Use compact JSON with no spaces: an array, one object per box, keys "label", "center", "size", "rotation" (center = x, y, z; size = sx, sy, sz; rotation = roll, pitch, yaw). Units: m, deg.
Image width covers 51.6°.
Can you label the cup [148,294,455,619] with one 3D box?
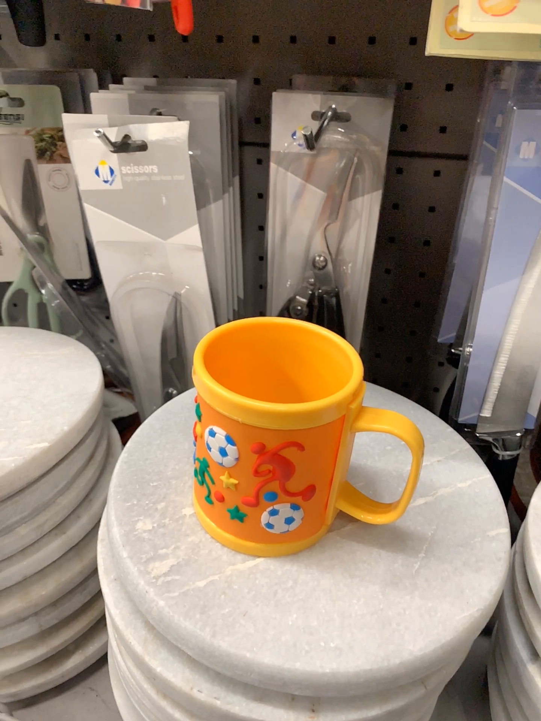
[{"label":"cup","center":[0.017,0.038,0.263],"size":[0.110,0.100,0.080],"rotation":[11,34,18]}]
